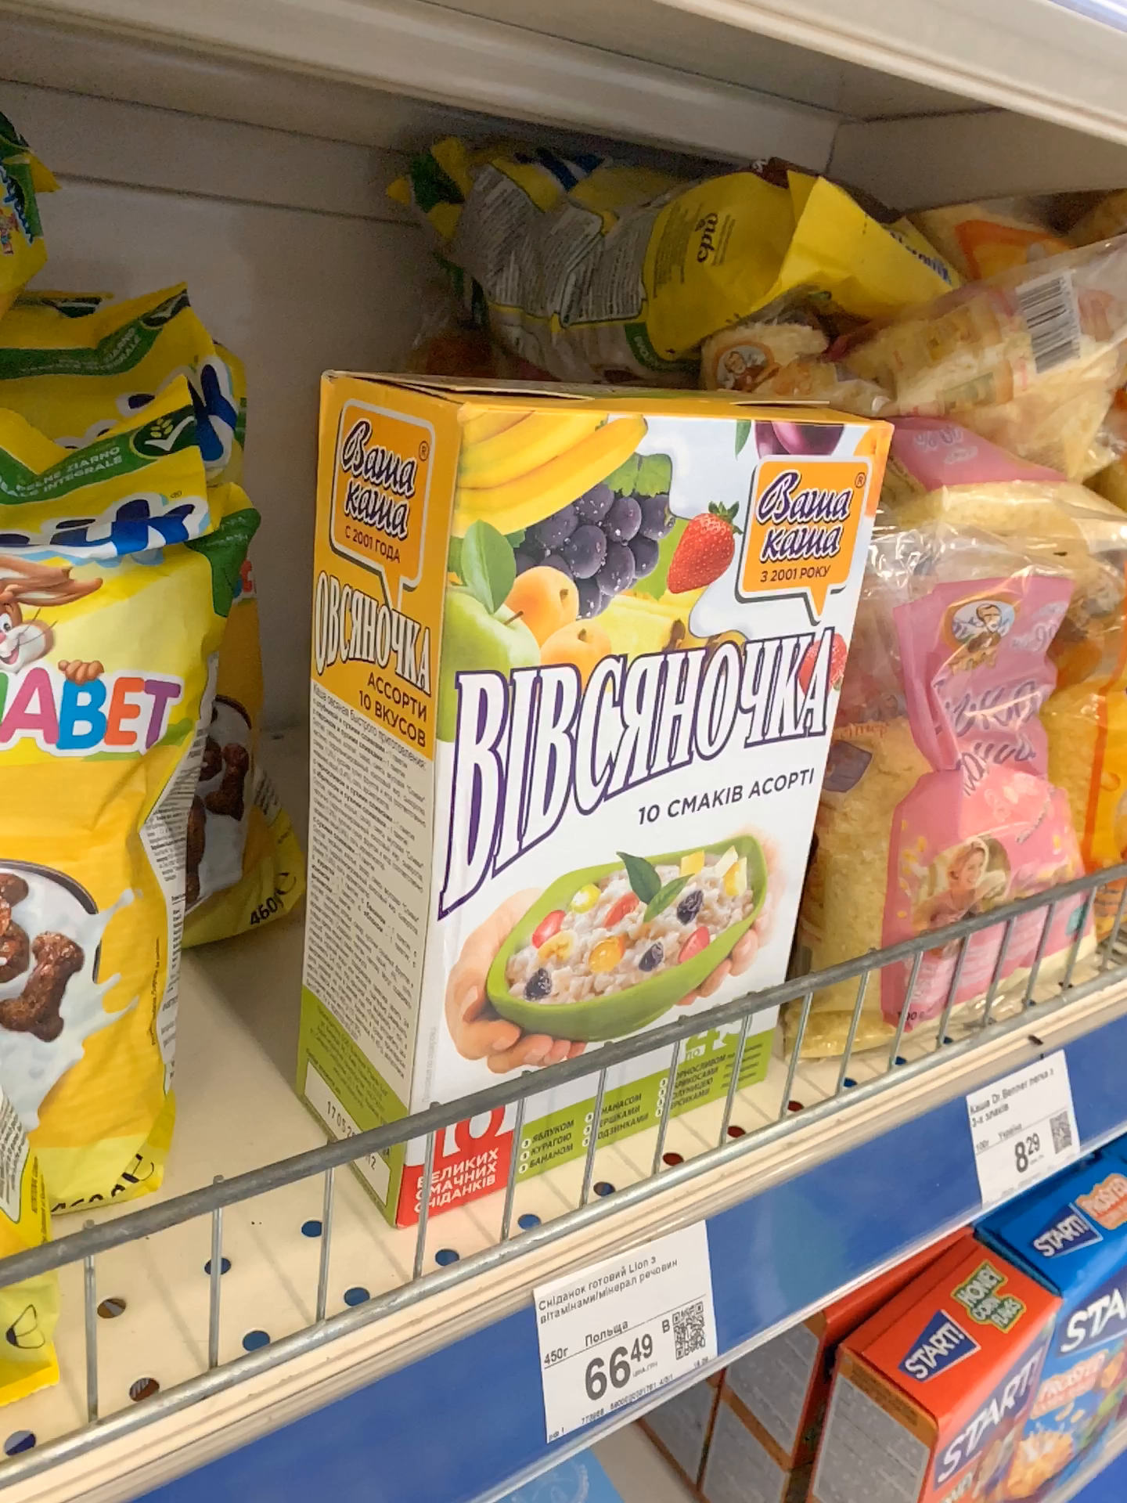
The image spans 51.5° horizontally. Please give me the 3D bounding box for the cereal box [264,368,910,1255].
[{"bbox_3d":[0.001,0.008,0.330,0.150,0.209,0.070,-9,24,-34],"label":"cereal box"}]
